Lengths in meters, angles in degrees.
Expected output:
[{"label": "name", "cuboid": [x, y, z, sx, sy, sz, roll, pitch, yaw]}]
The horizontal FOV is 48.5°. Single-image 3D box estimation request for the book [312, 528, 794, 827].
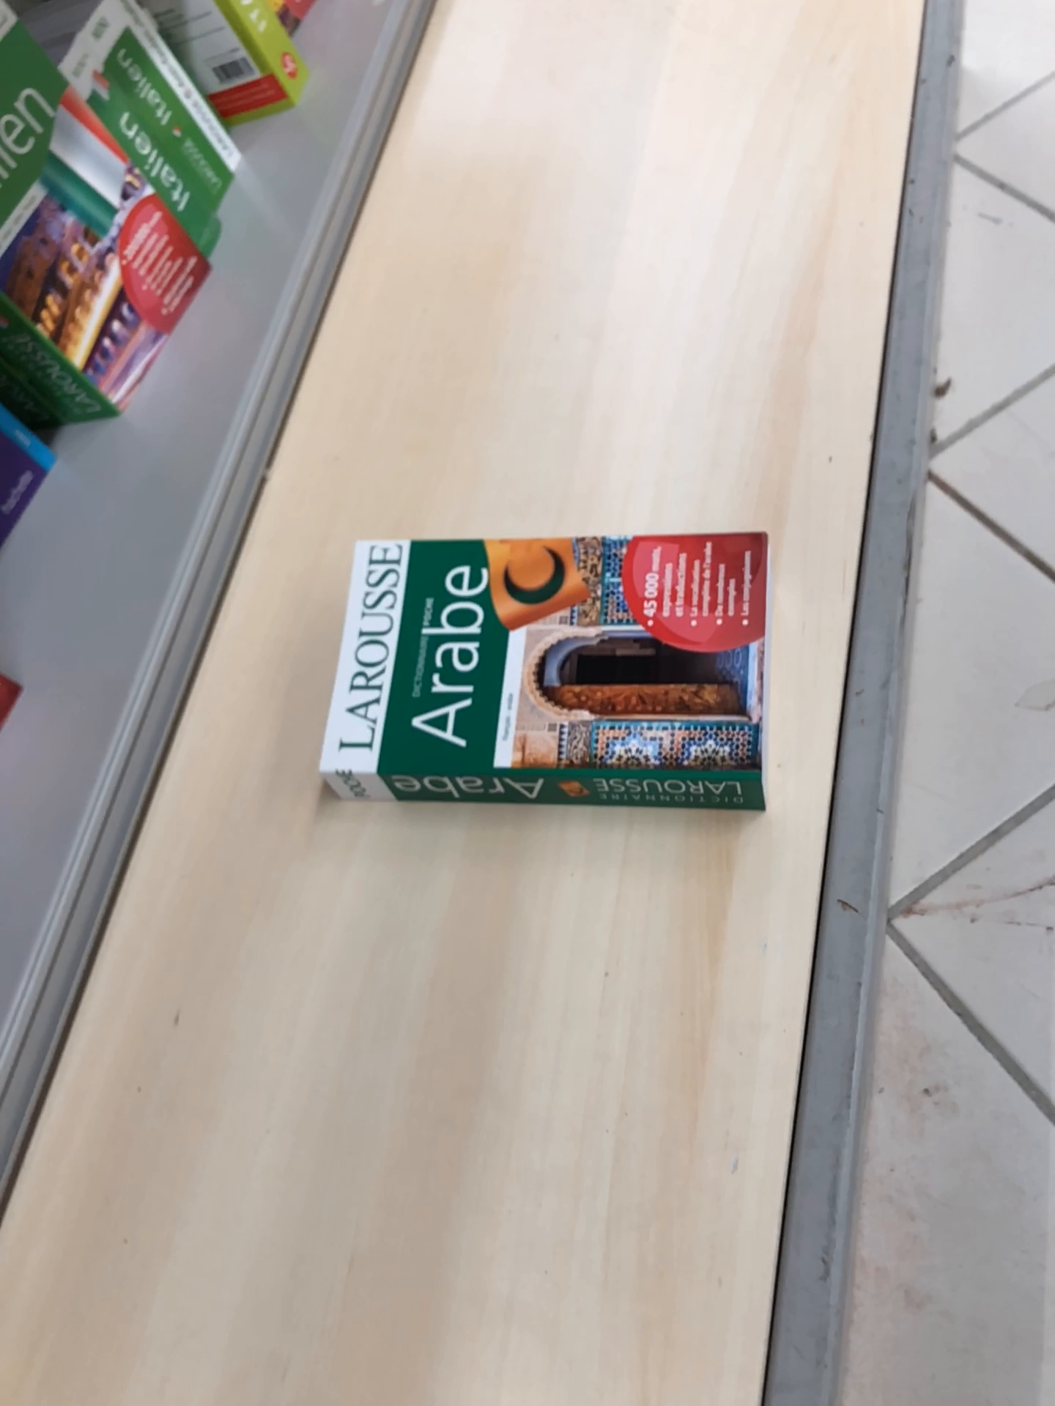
[{"label": "book", "cuboid": [0.015, -0.012, 0.488, 0.182, 0.046, 0.111, 1, 61, 15]}]
